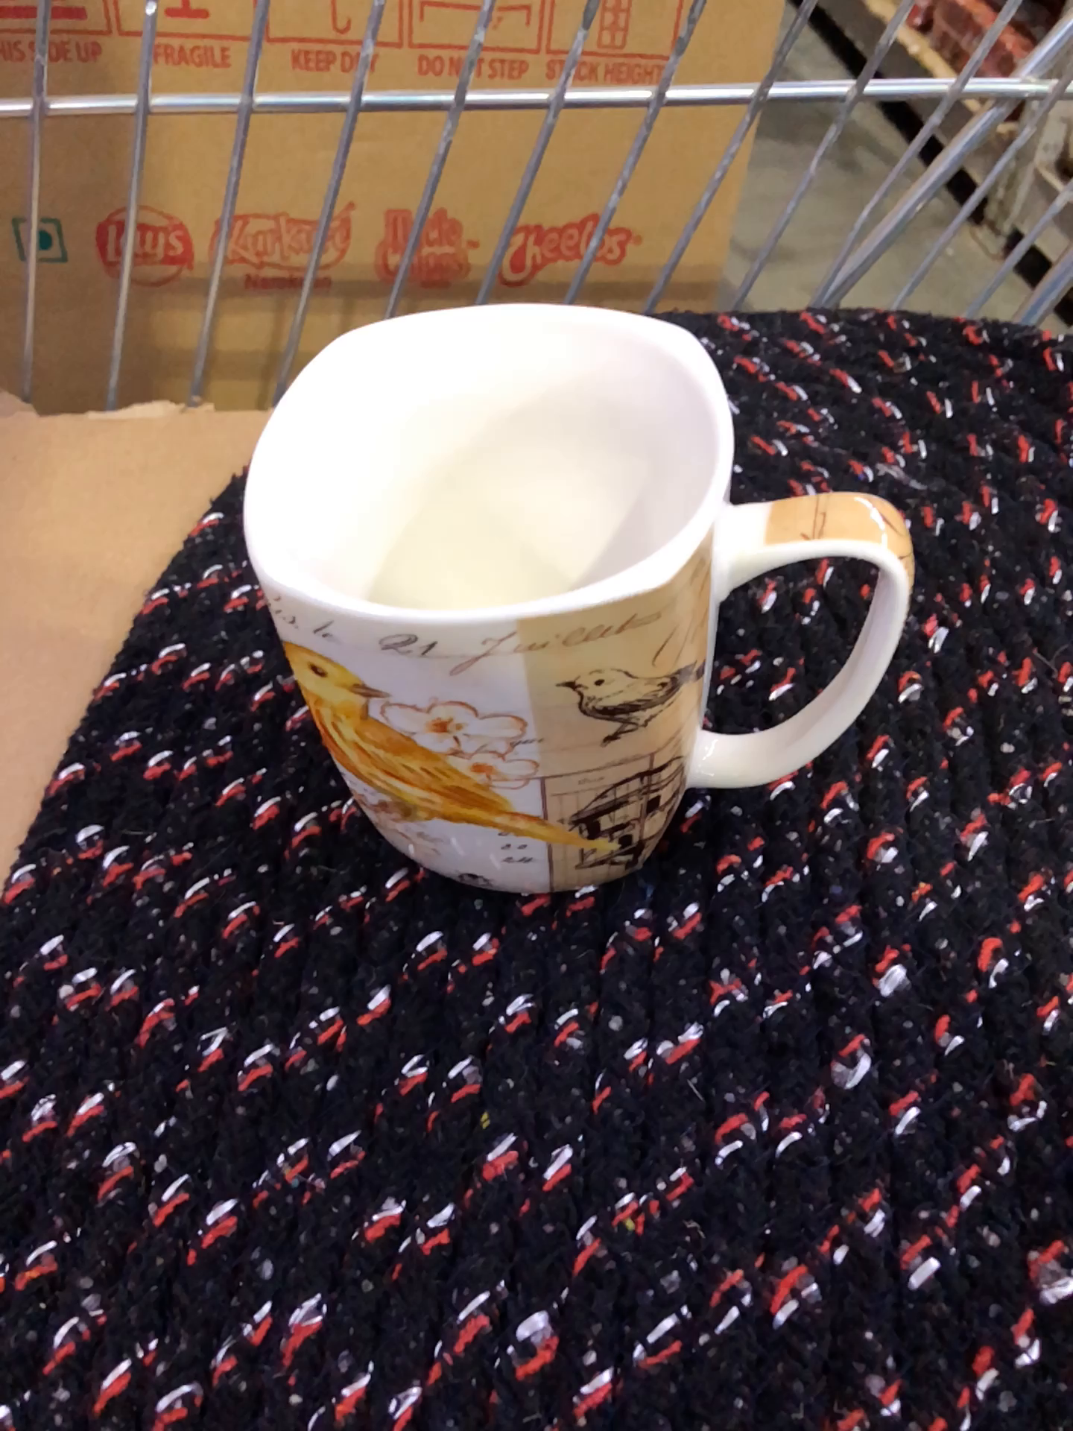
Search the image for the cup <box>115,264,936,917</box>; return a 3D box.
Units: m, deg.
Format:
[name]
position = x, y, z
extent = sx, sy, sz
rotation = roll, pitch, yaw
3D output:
[cup]
position = 0.005, -0.024, 0.231
extent = 0.120, 0.080, 0.091
rotation = 0, 48, 10
